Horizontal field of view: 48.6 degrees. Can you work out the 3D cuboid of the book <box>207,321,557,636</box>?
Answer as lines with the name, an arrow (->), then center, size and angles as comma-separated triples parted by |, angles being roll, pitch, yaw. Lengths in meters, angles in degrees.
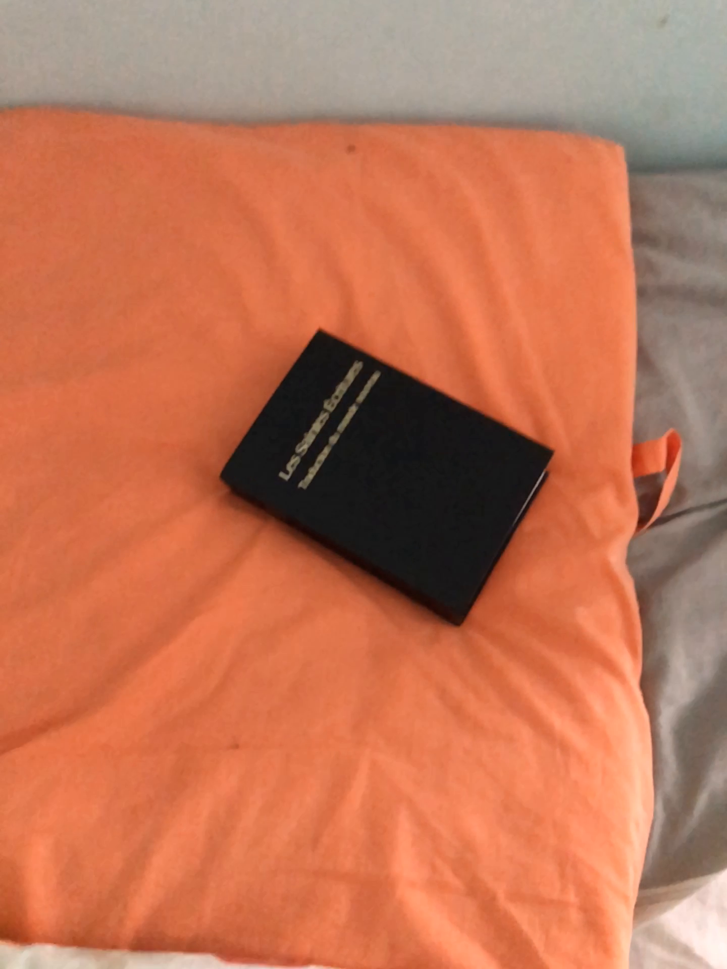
book -> 0.012, -0.007, 0.507 | 0.174, 0.030, 0.127 | 31, 75, 11
